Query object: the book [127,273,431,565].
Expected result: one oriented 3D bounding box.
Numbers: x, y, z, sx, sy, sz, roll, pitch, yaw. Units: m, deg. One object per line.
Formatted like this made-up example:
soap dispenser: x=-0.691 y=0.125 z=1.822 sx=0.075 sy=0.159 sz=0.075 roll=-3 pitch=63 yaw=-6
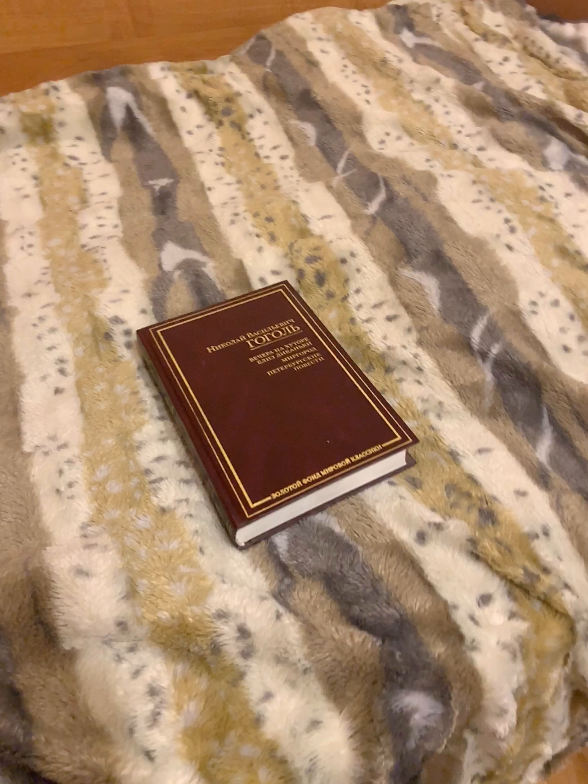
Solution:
book: x=-0.021 y=0.004 z=0.468 sx=0.149 sy=0.040 sz=0.211 roll=-22 pitch=53 yaw=-18
